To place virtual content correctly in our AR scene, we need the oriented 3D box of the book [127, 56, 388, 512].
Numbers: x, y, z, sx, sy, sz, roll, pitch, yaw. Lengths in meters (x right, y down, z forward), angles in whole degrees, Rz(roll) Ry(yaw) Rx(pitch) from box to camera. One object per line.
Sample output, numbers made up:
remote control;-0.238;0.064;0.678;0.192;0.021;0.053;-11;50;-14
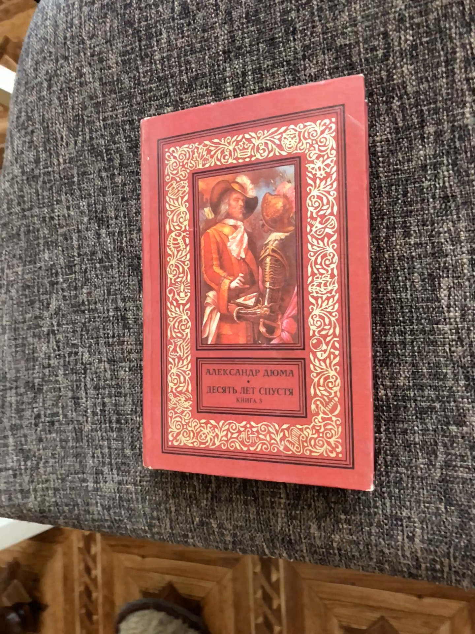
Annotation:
book;0.007;-0.014;0.282;0.131;0.038;0.206;-2;88;25
